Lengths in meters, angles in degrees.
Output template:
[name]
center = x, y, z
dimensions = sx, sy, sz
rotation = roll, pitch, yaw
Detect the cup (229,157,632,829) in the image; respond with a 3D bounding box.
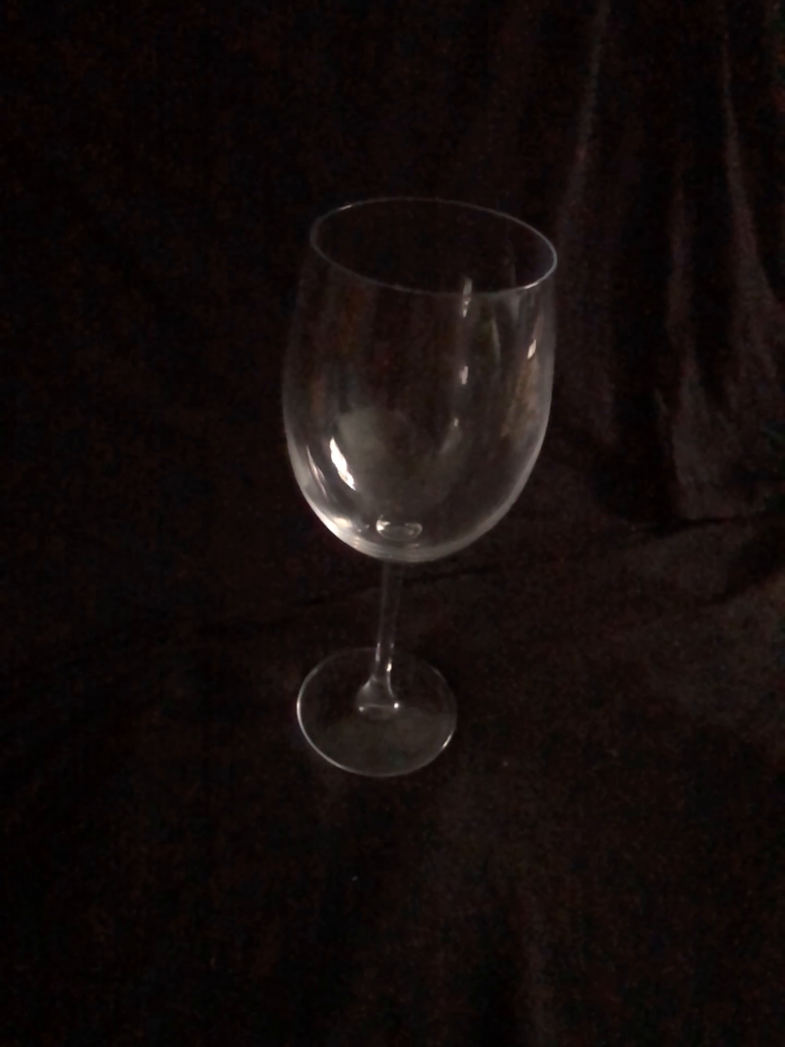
[cup]
center = 0.008, 0.001, 0.381
dimensions = 0.103, 0.266, 0.101
rotation = 3, 42, -3
